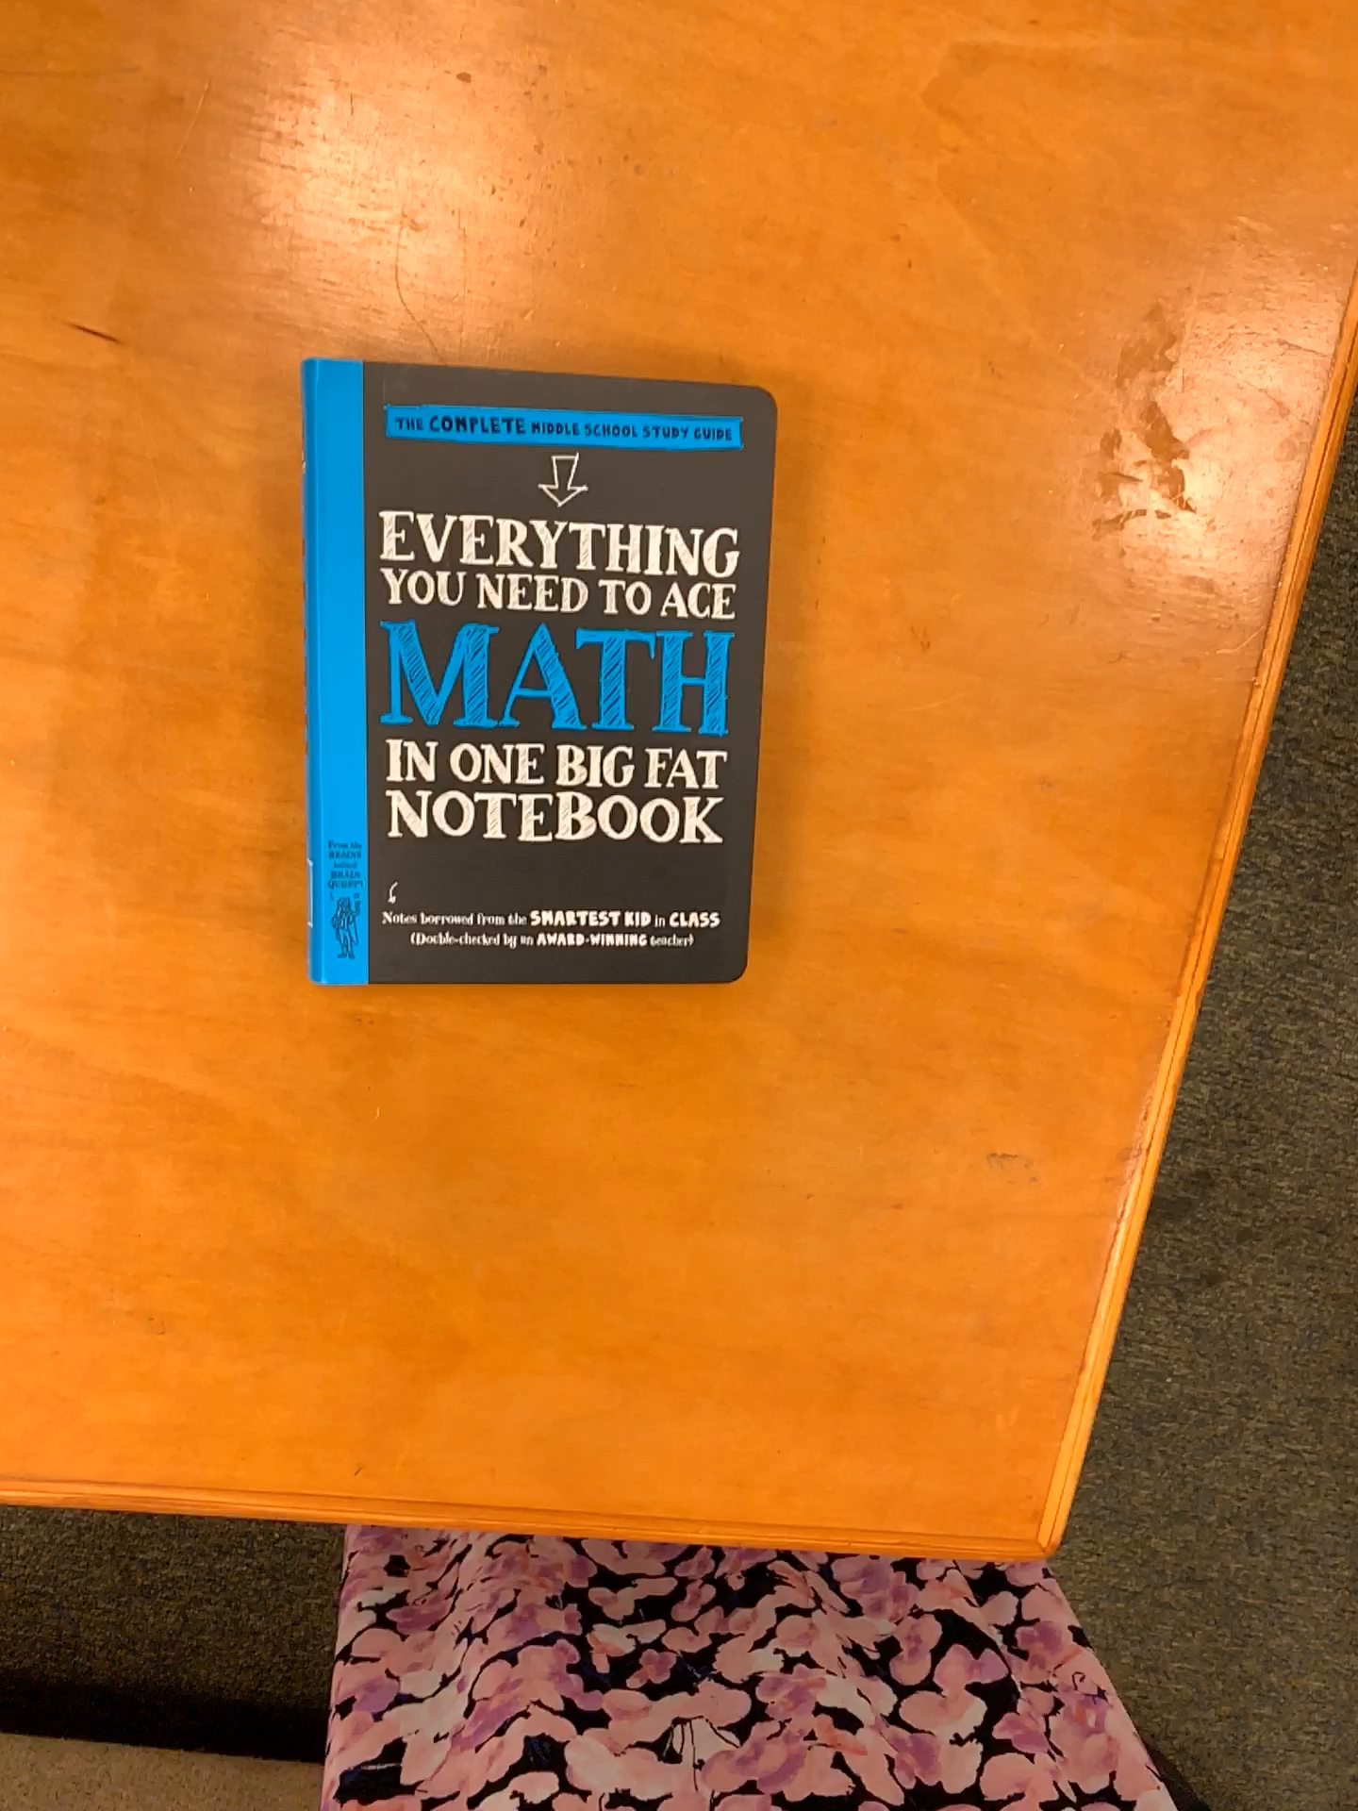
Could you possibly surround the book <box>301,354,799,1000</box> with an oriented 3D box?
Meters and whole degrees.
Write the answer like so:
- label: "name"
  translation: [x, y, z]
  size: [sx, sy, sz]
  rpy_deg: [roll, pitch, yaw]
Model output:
- label: "book"
  translation: [-0.046, -0.076, 0.490]
  size: [0.157, 0.050, 0.208]
  rpy_deg: [-1, 106, -11]
